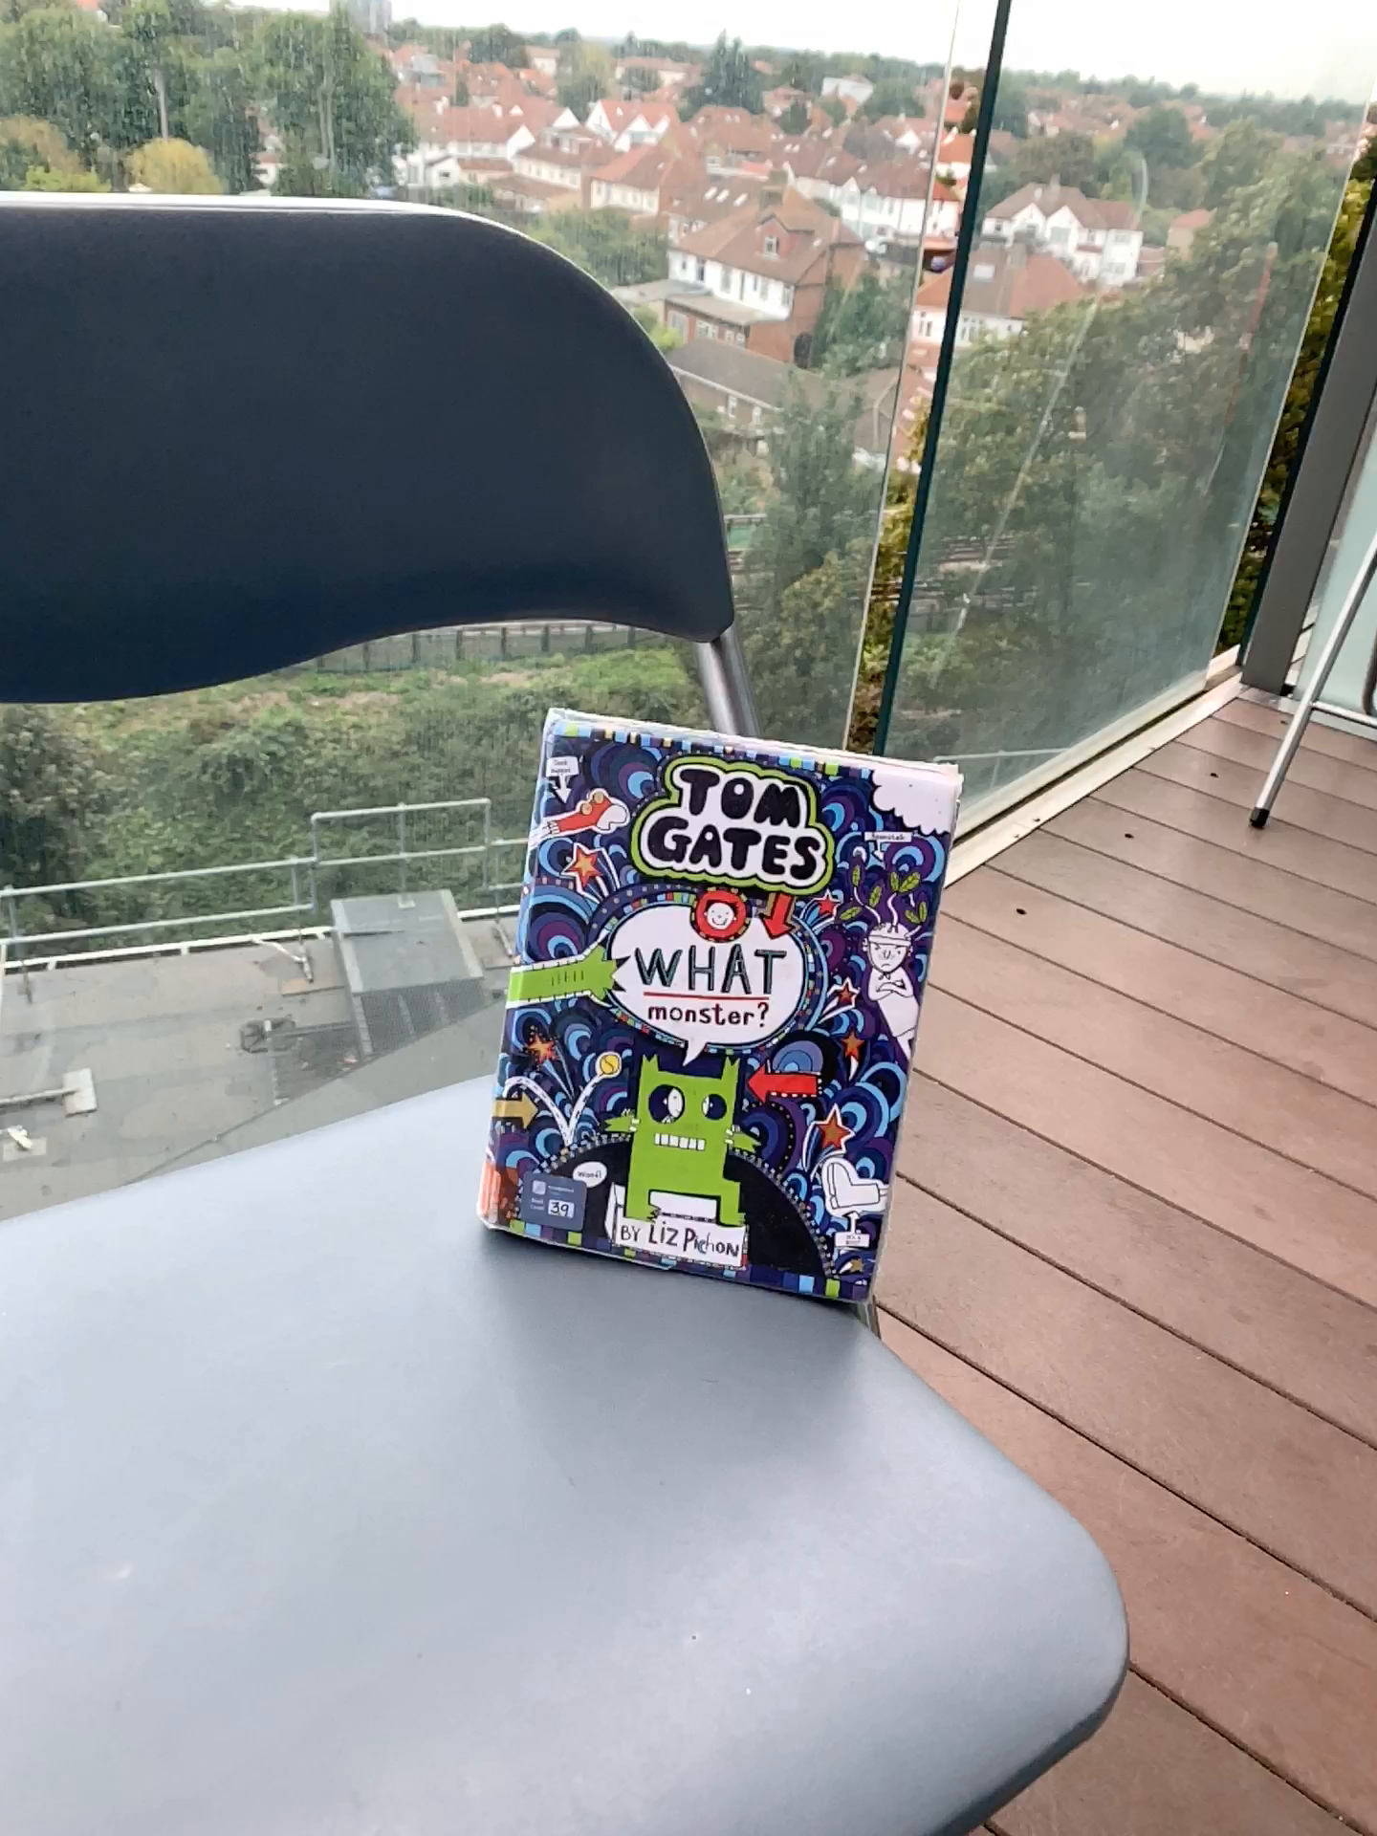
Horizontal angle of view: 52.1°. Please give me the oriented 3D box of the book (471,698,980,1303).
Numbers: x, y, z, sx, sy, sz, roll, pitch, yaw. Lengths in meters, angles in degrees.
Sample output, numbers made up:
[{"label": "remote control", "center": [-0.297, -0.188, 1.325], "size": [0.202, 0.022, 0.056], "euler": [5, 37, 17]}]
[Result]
[{"label": "book", "center": [0.012, 0.028, 0.535], "size": [0.160, 0.199, 0.050], "euler": [9, 10, 6]}]
